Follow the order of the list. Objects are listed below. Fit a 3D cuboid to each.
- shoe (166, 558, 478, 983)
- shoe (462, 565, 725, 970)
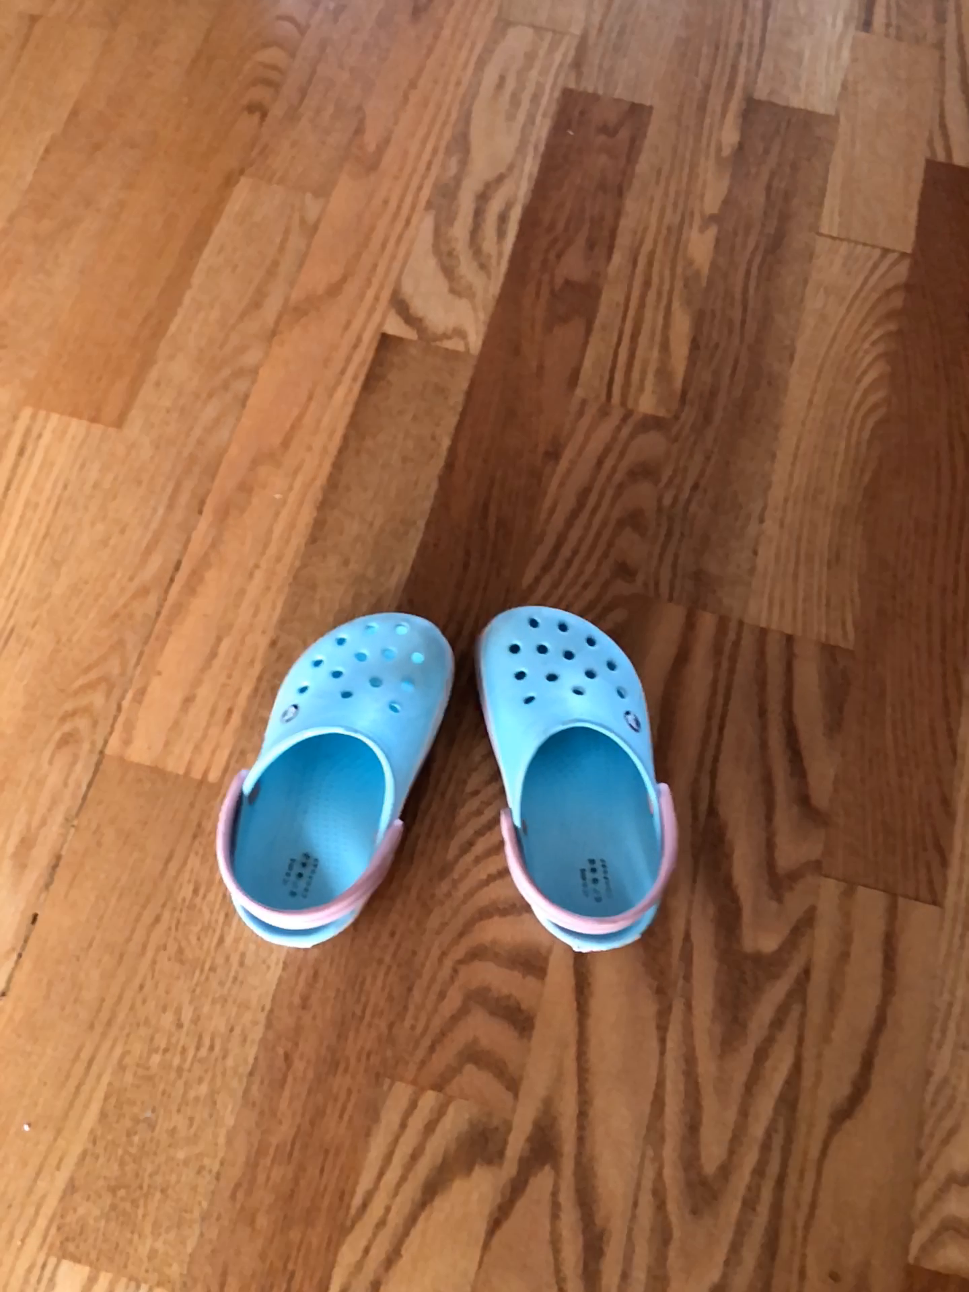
[{"bbox_3d":[-0.066,0.055,0.482,0.083,0.057,0.165,15,68,4],"label":"shoe"},{"bbox_3d":[0.043,0.053,0.483,0.083,0.048,0.165,-7,69,-5],"label":"shoe"}]
